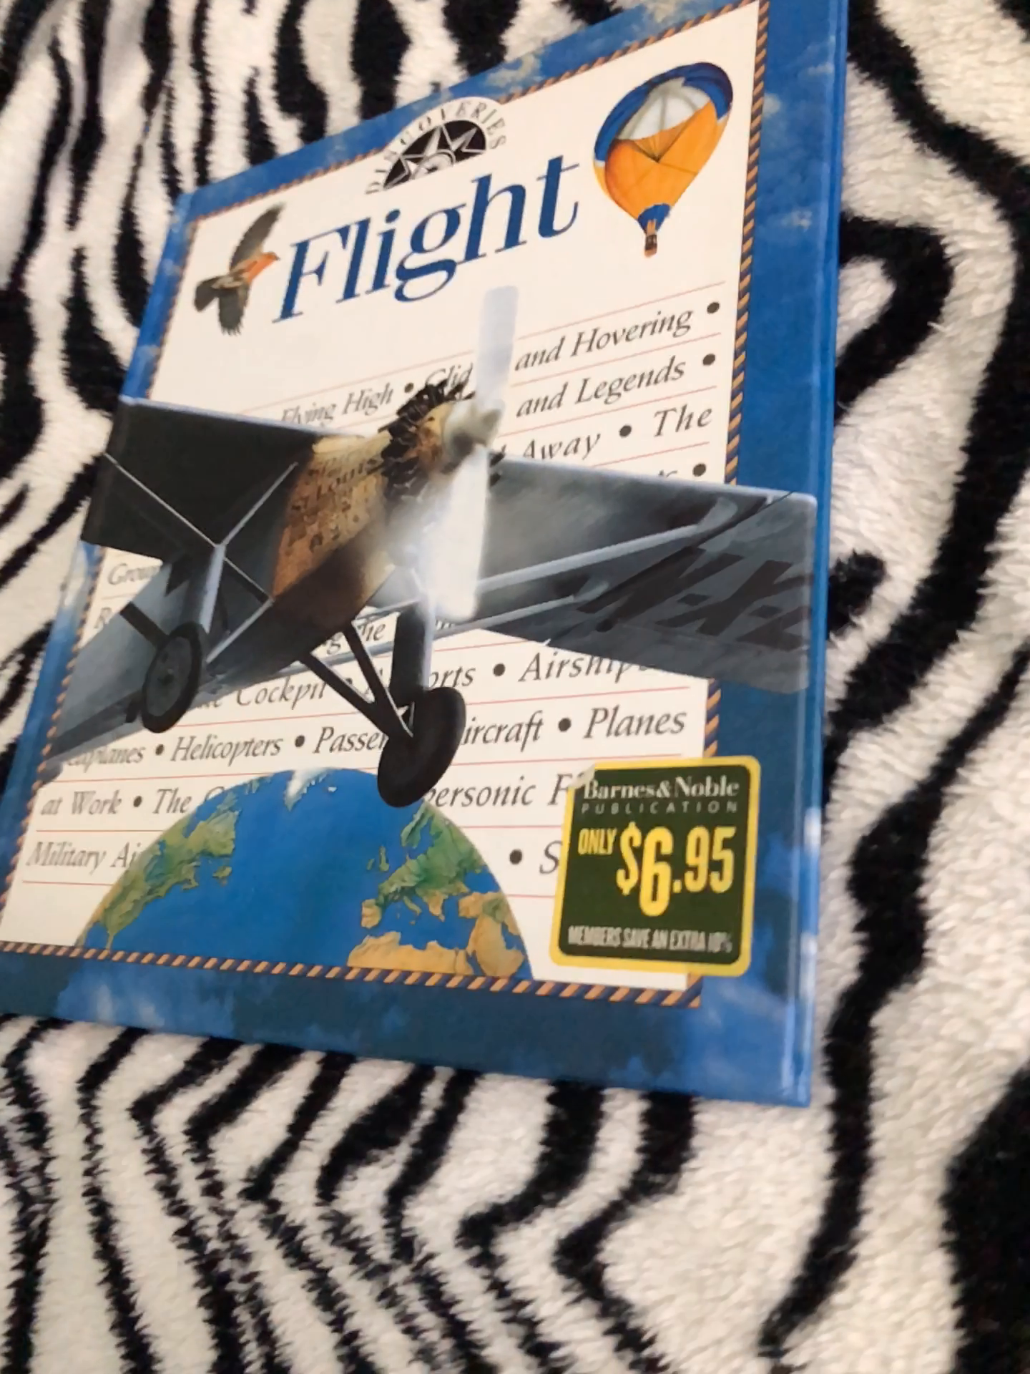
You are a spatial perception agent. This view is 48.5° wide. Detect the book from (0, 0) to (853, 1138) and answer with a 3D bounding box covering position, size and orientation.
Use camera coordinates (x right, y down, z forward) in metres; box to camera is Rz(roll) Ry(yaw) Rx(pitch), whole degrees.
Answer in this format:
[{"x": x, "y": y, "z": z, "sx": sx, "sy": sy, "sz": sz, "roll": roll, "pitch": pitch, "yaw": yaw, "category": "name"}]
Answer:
[{"x": -0.042, "y": -0.052, "z": 0.321, "sx": 0.259, "sy": 0.020, "sz": 0.301, "roll": -4, "pitch": 66, "yaw": 30, "category": "book"}]
